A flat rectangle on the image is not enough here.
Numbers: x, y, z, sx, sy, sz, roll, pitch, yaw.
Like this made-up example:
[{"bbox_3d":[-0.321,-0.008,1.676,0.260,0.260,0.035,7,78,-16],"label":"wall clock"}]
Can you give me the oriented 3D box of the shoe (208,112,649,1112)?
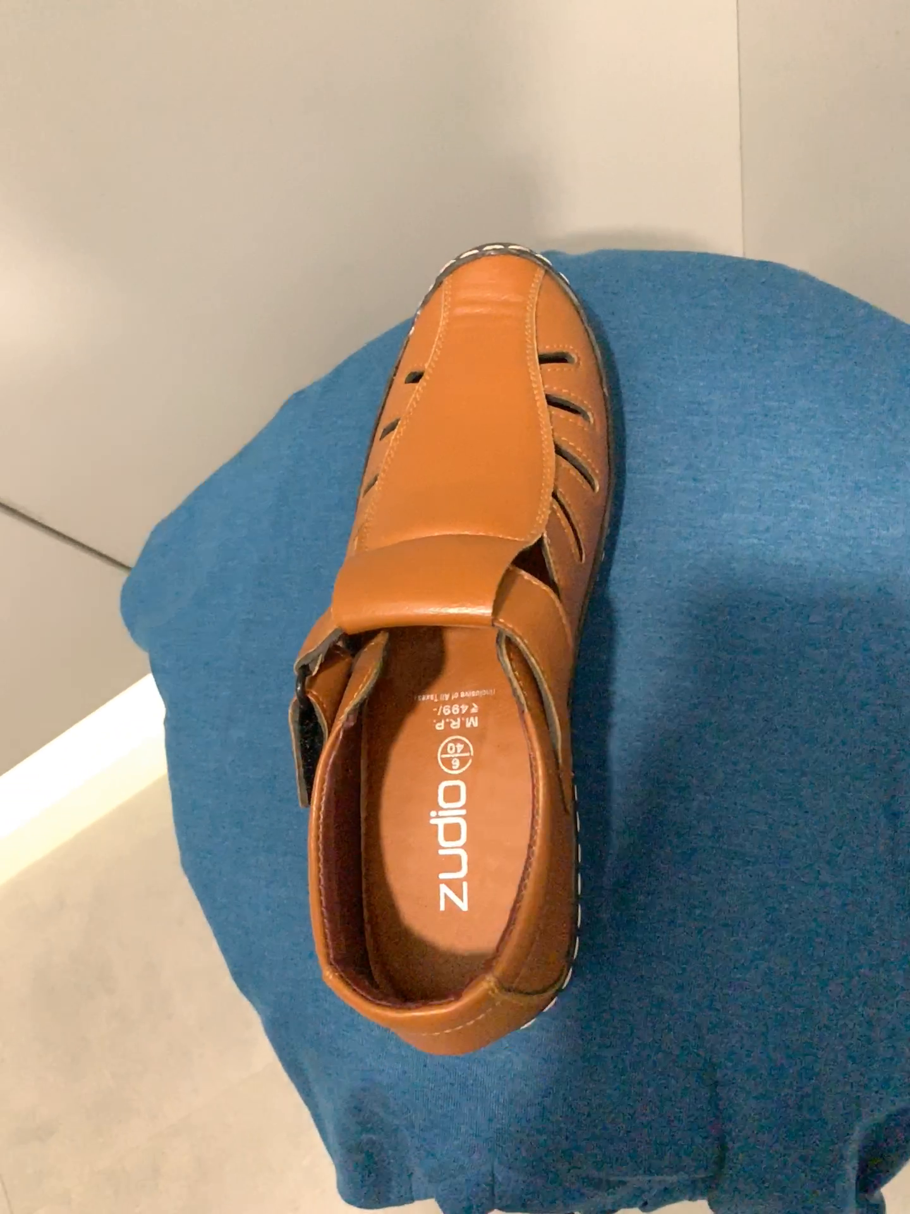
[{"bbox_3d":[0.005,-0.002,0.305,0.100,0.100,0.270,-3,74,17],"label":"shoe"}]
